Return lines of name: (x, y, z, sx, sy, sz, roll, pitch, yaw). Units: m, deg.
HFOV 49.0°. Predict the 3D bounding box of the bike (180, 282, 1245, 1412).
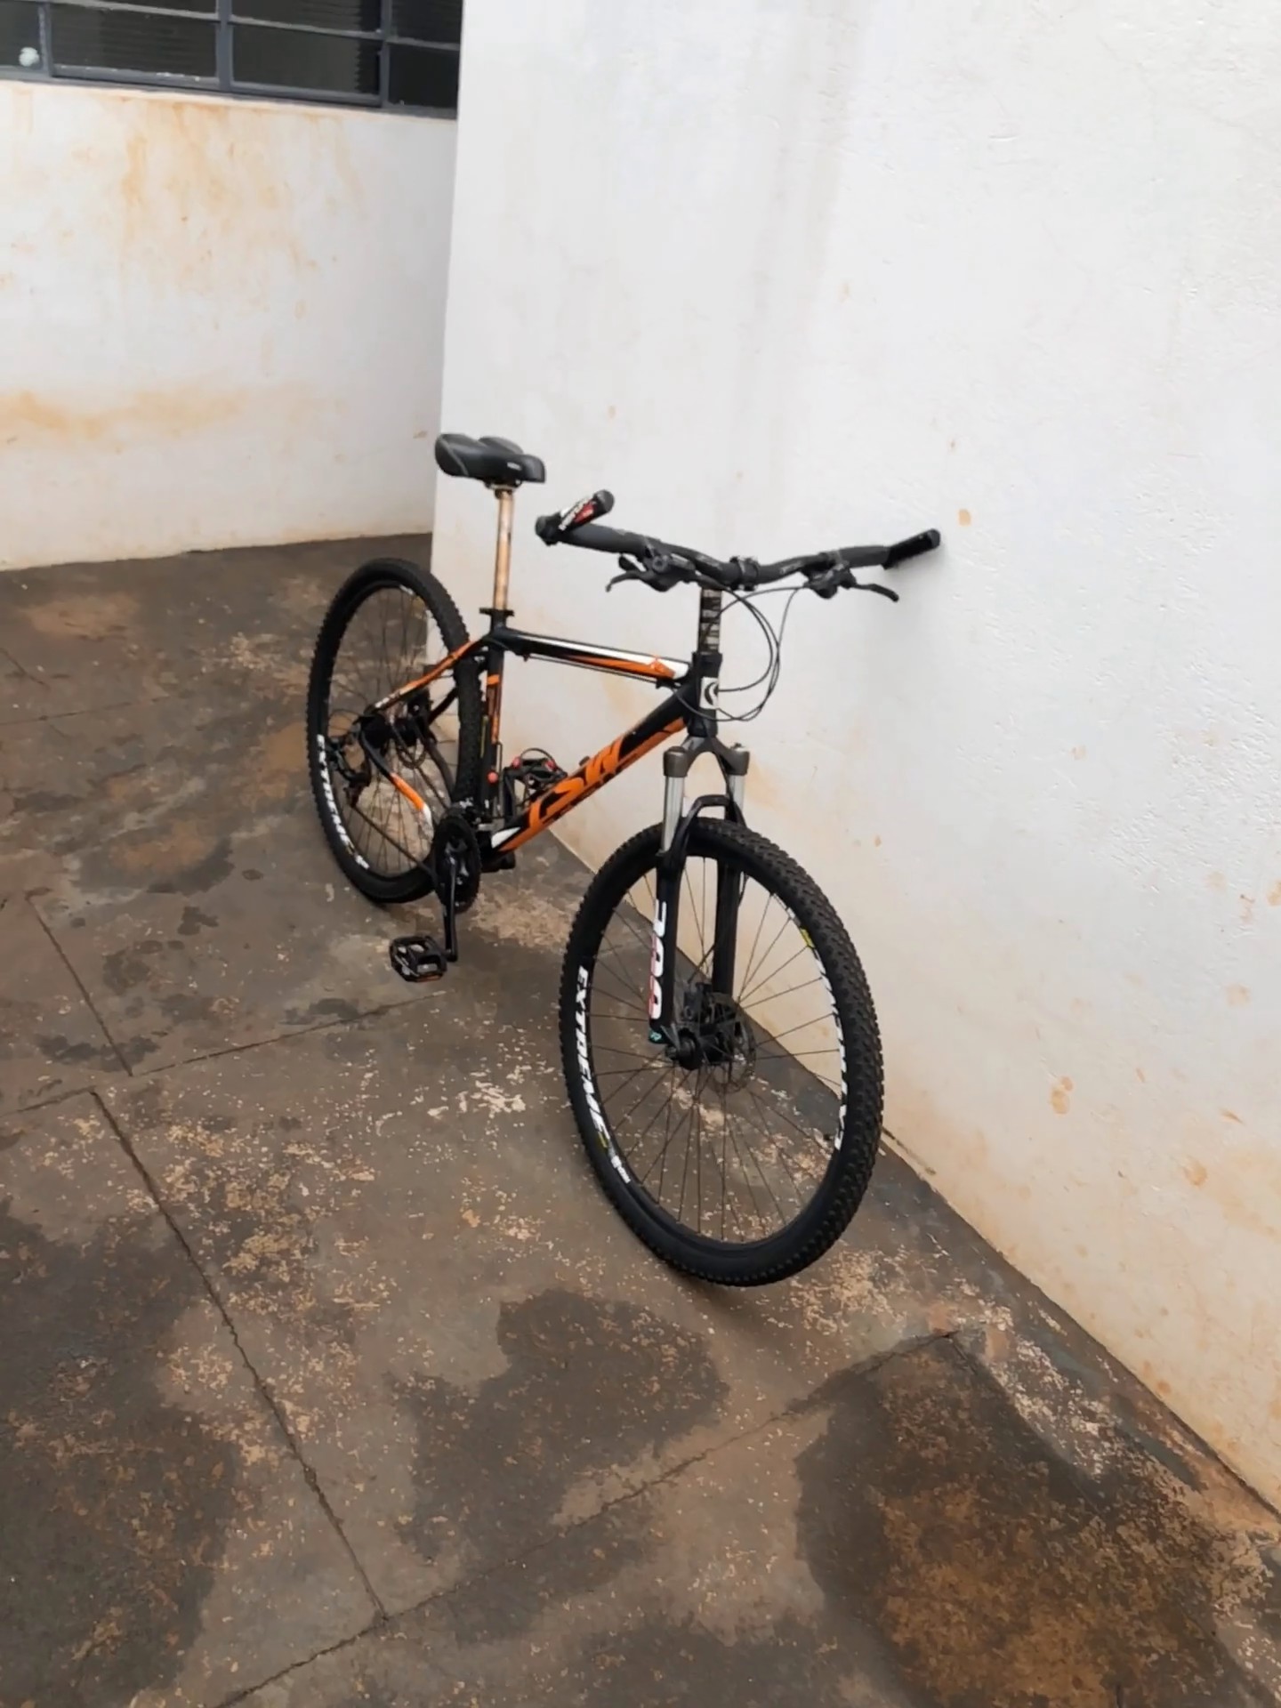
bike: (-0.108, -0.217, 2.407, 0.723, 1.085, 1.768, -14, 37, -33)
